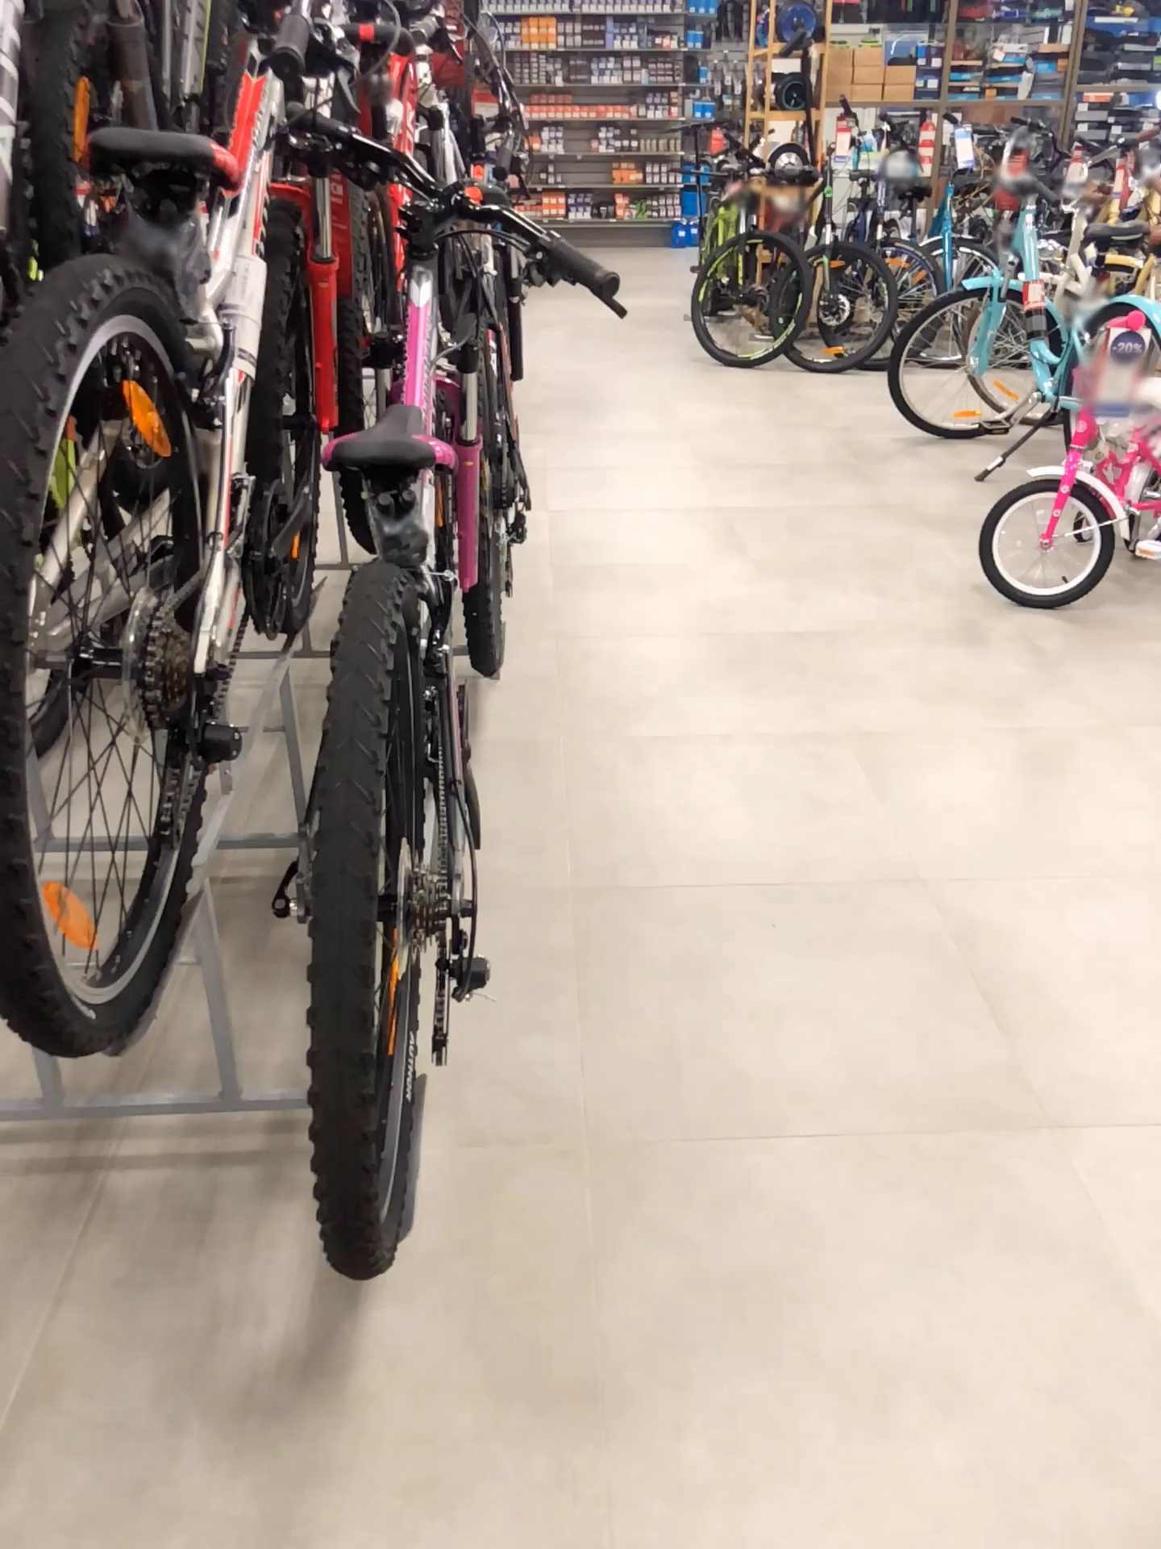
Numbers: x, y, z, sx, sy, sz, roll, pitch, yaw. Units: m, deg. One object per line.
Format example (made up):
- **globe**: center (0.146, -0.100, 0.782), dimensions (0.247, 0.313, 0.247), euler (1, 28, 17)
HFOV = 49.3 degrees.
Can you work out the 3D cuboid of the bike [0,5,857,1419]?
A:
- **bike**: center (-0.215, -0.342, 1.520), dimensions (0.598, 0.990, 1.615), euler (-1, 30, -3)
